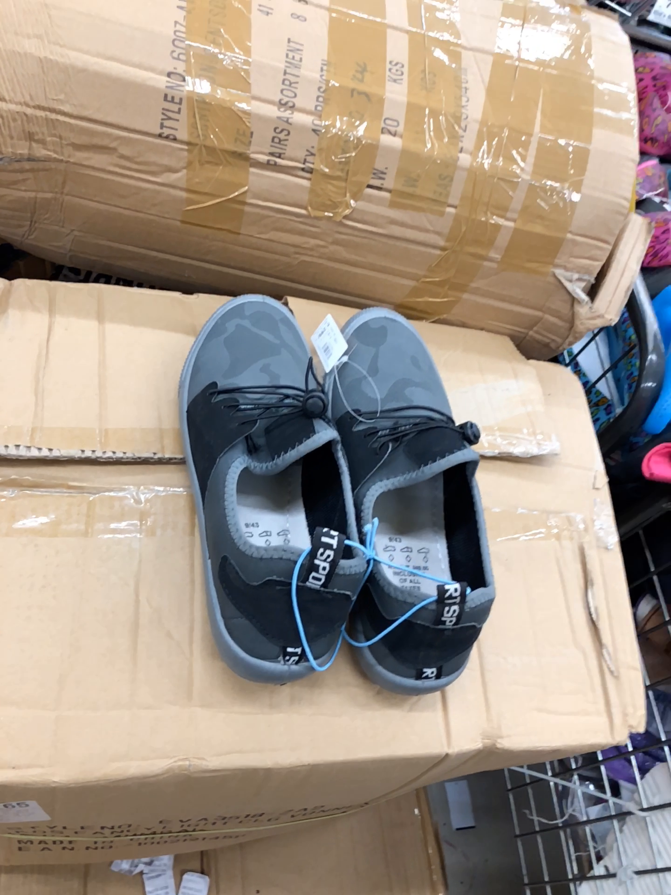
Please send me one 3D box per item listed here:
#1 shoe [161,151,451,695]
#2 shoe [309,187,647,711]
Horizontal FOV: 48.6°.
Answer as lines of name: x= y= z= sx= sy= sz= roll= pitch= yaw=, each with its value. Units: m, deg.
shoe: x=-0.042 y=-0.019 z=0.474 sx=0.110 sy=0.149 sz=0.301 roll=2 pitch=57 yaw=-20
shoe: x=0.065 y=-0.004 z=0.474 sx=0.110 sy=0.129 sz=0.301 roll=6 pitch=56 yaw=-18
